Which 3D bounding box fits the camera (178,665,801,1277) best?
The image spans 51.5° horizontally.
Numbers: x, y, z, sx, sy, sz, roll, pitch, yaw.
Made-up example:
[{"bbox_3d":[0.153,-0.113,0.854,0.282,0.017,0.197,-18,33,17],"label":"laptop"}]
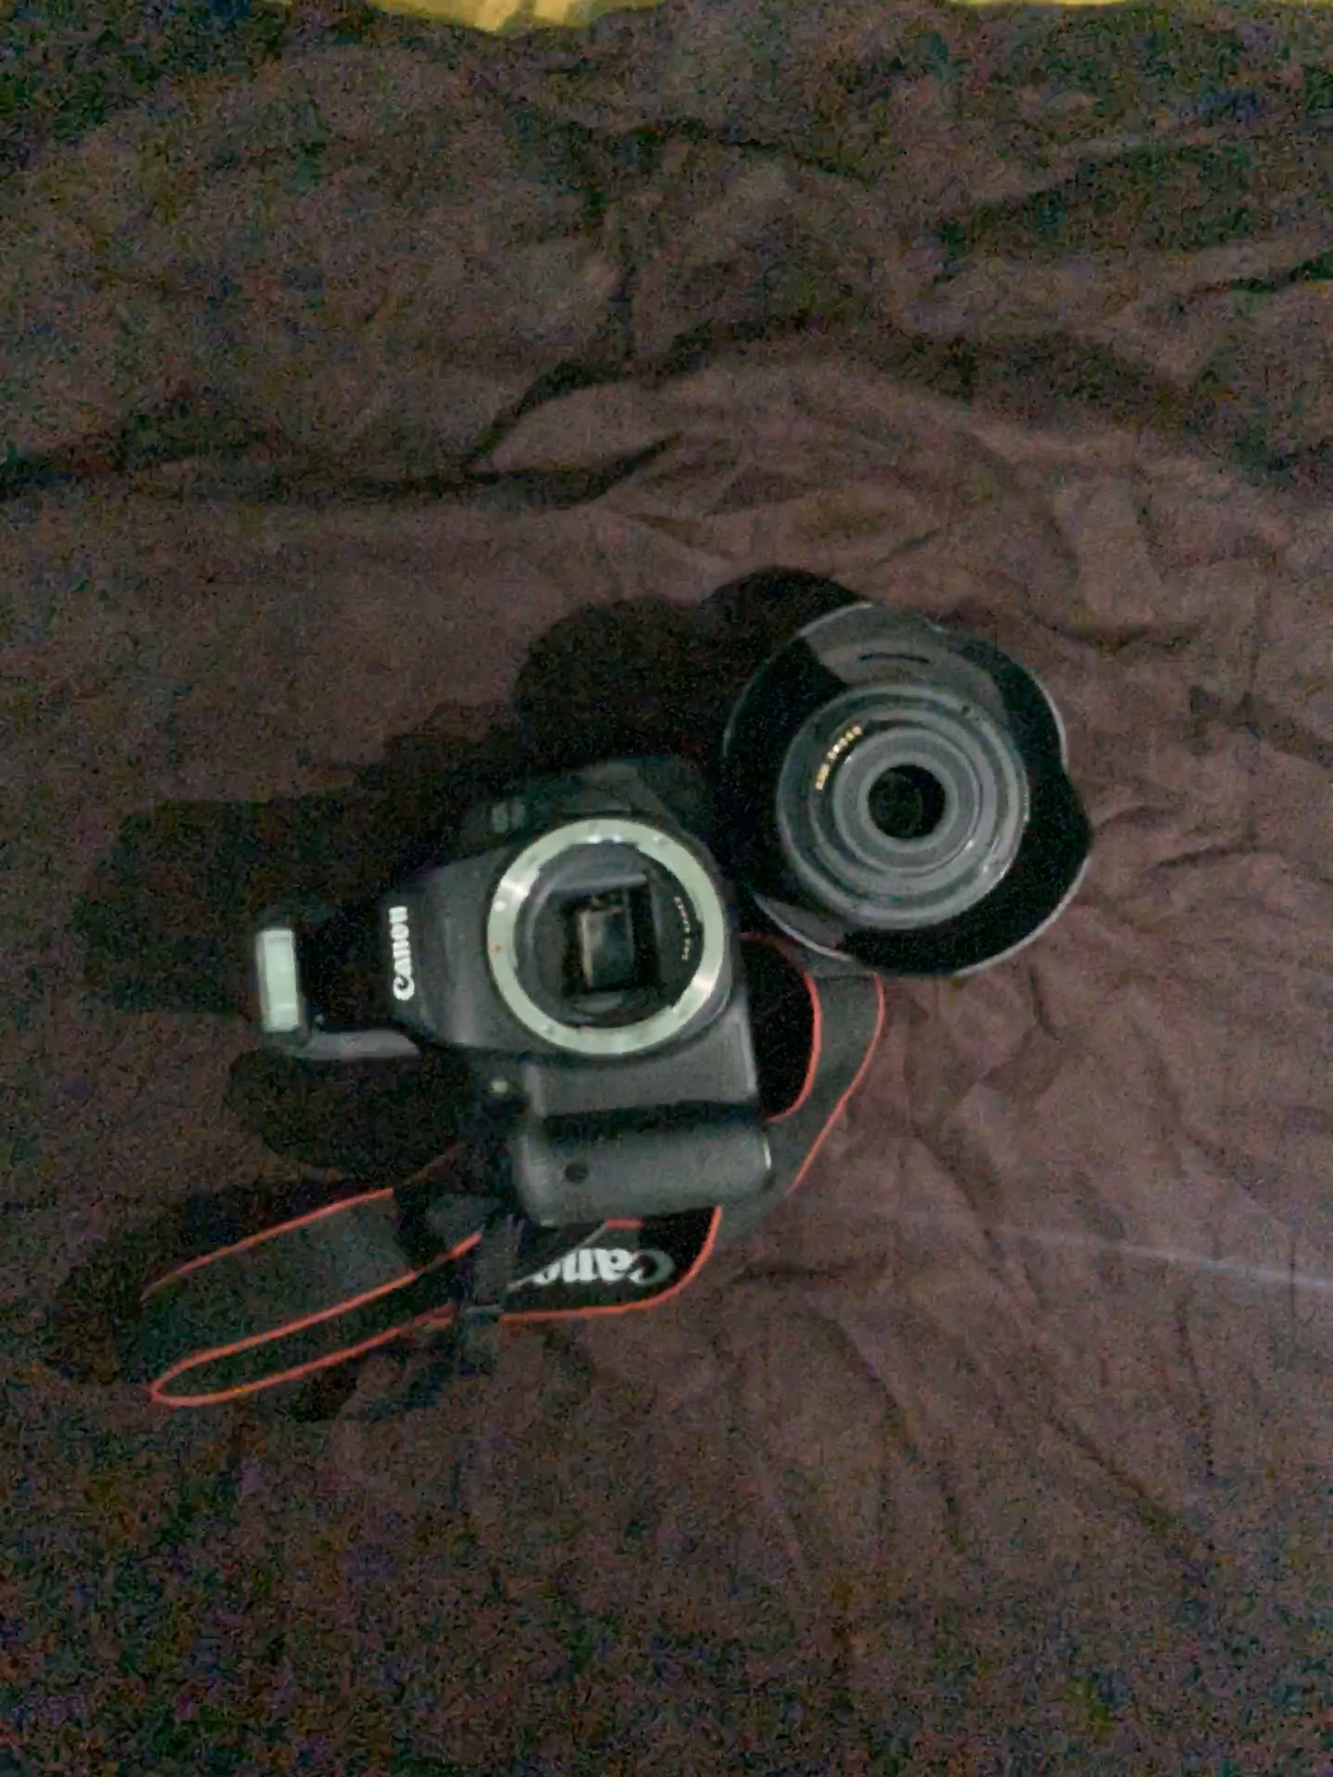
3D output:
[{"bbox_3d":[-0.052,0.027,0.414,0.150,0.083,0.147,-8,78,-4],"label":"camera"}]
